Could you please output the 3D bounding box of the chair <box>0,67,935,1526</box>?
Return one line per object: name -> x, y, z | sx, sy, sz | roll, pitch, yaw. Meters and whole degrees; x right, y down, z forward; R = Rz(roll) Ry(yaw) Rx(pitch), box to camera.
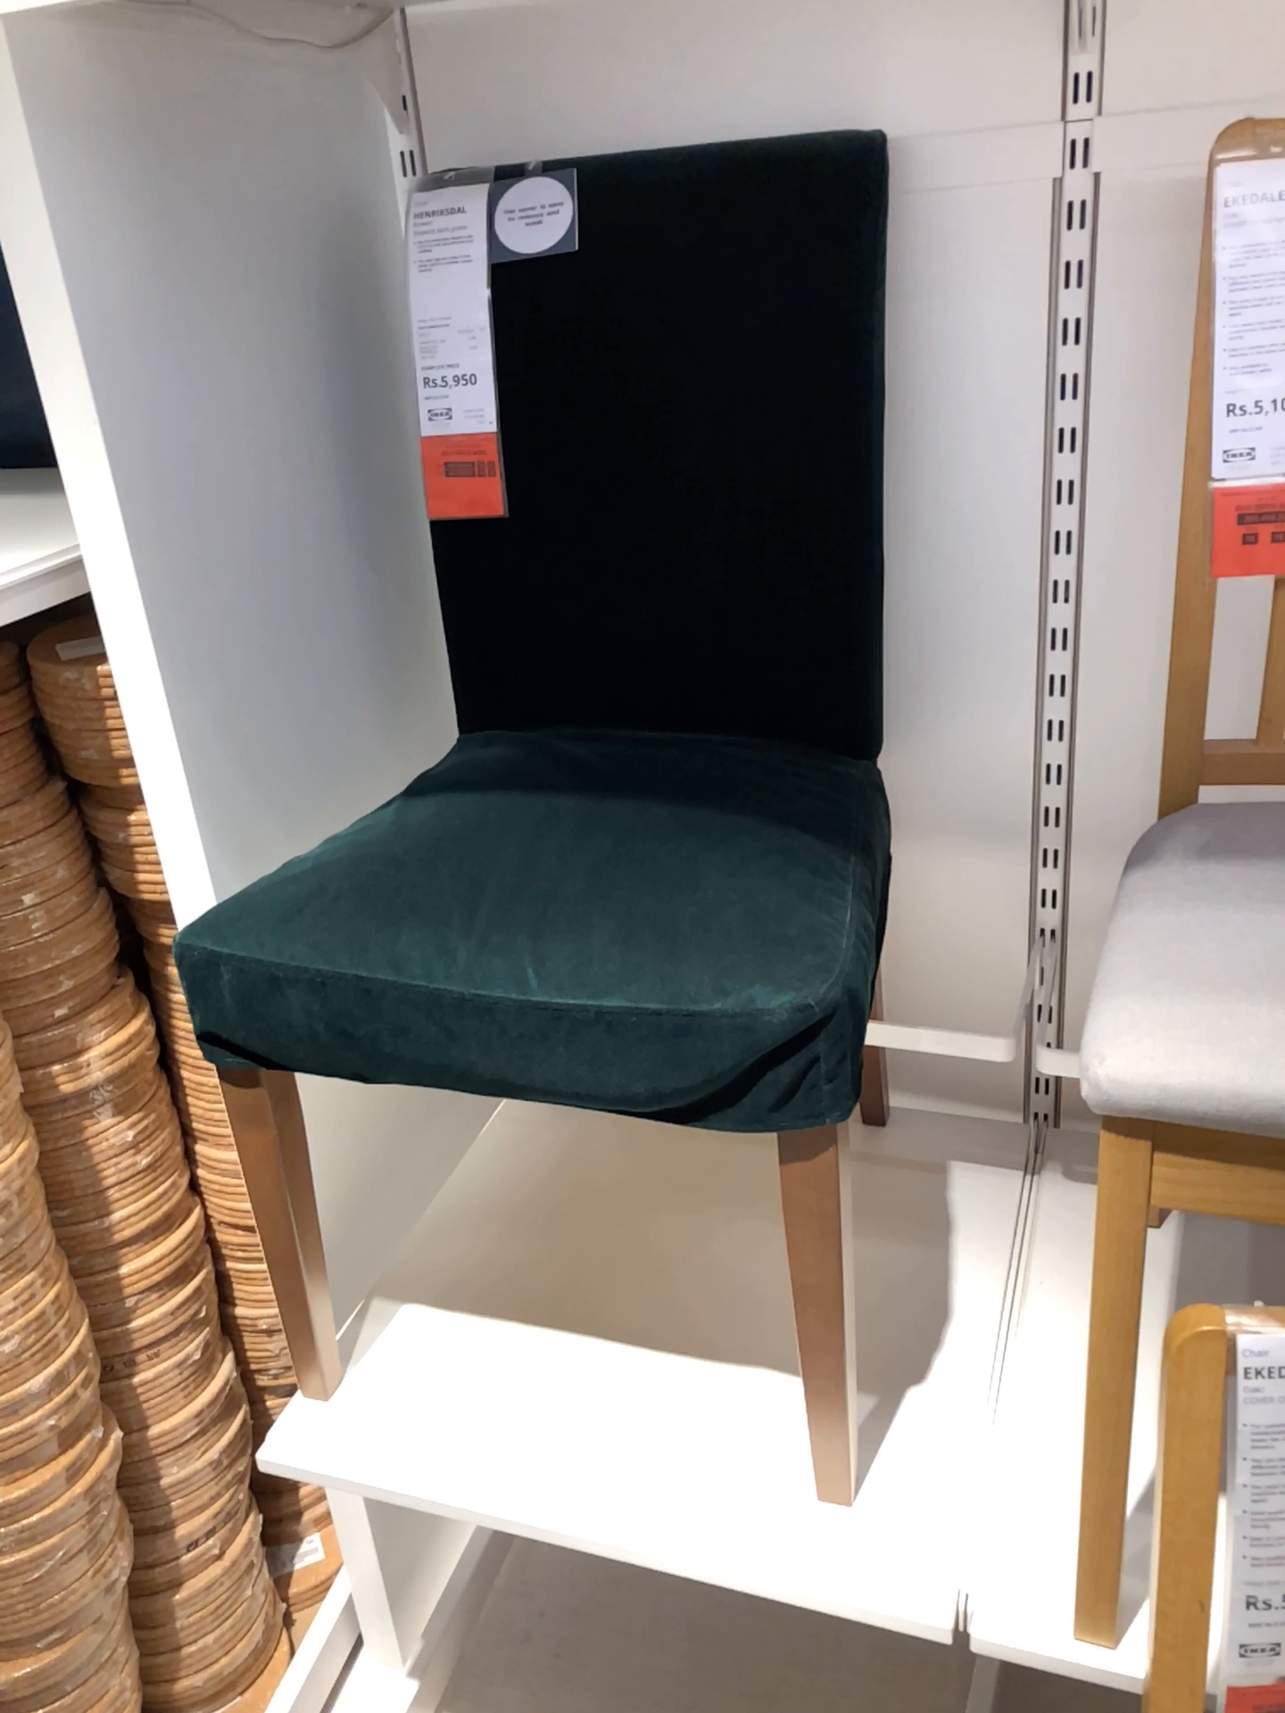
chair -> -0.041, -0.060, 1.107 | 0.470, 0.915, 0.513 | 3, 26, 18
